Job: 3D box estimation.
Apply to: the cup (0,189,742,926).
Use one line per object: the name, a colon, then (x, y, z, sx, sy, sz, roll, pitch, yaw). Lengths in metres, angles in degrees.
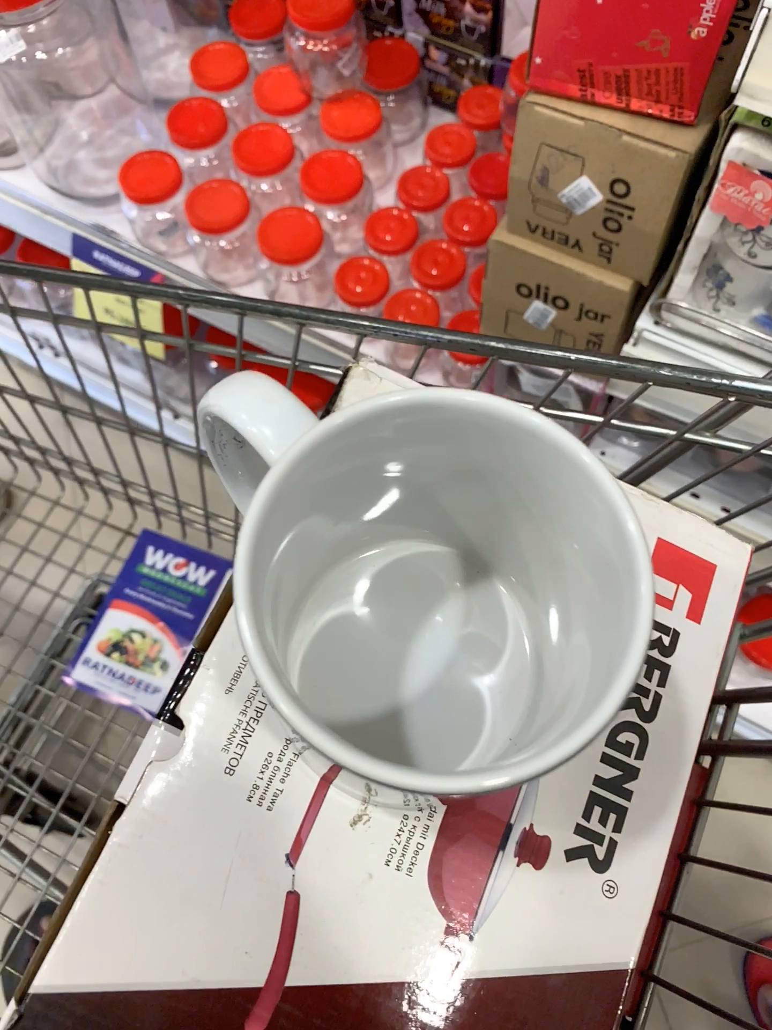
cup: (-0.010, 0.012, 0.184, 0.120, 0.090, 0.080, 36, 73, 12)
